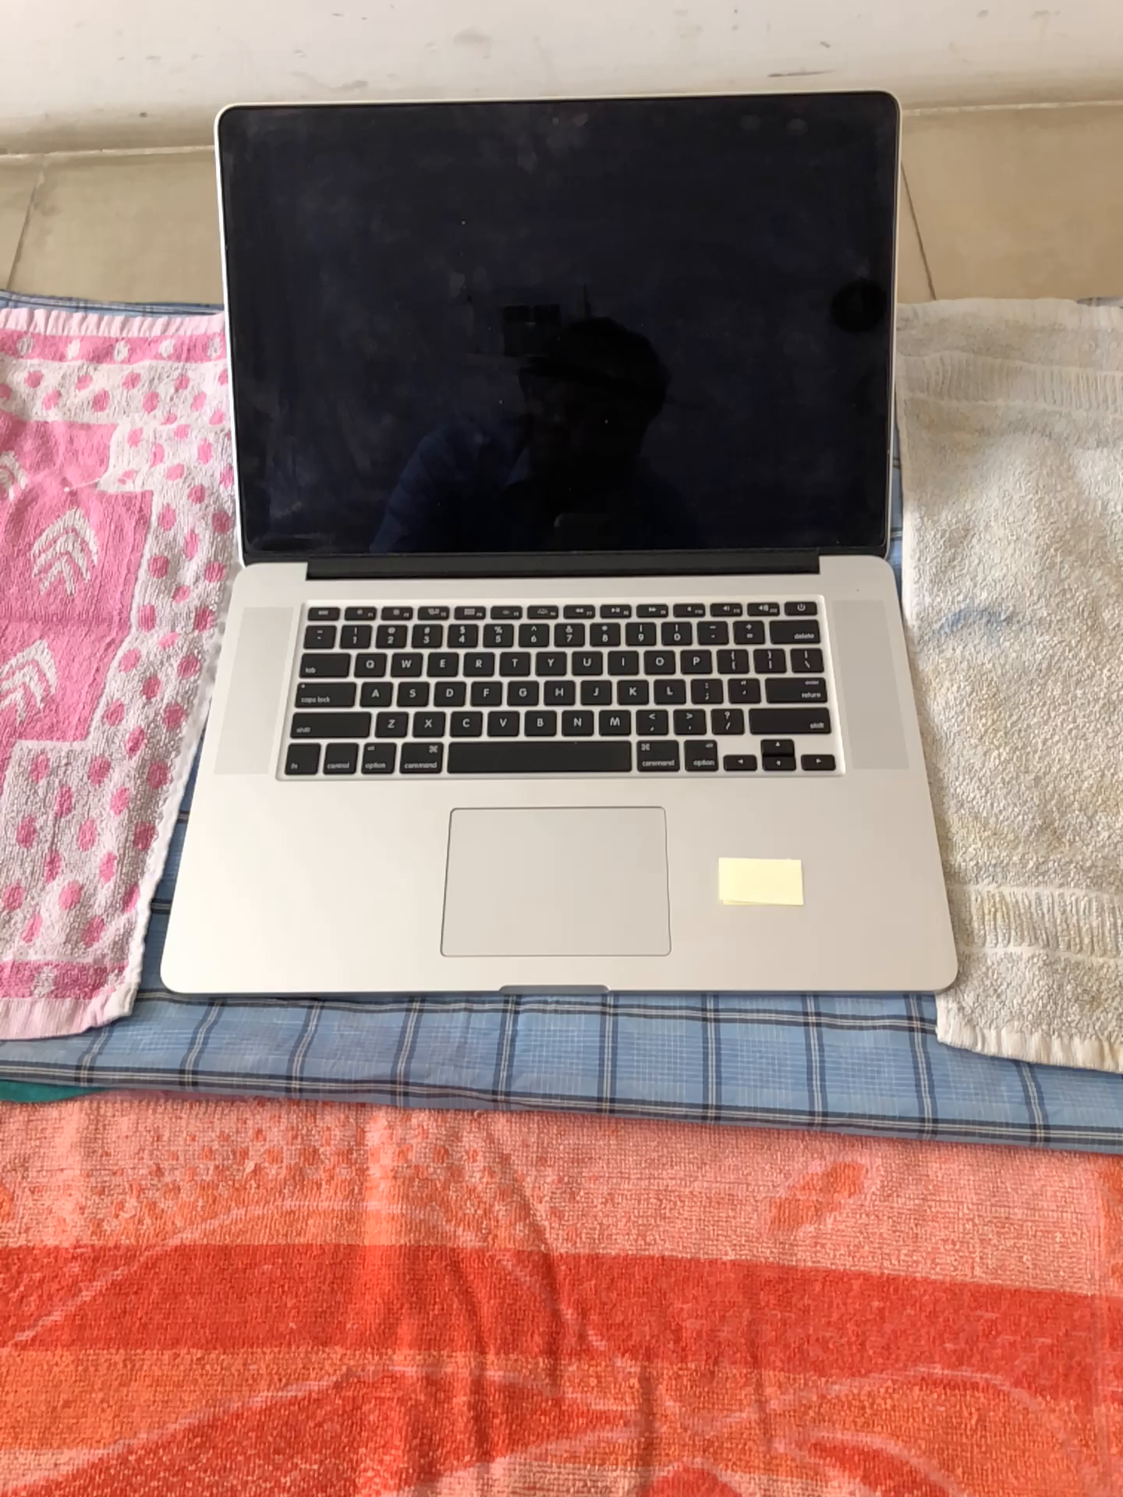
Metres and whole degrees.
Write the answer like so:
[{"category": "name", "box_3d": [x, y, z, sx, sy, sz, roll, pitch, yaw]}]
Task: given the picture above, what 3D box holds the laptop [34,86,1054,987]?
[{"category": "laptop", "box_3d": [-0.002, -0.111, 0.582, 0.343, 0.144, 0.414, -1, 60, 4]}]
